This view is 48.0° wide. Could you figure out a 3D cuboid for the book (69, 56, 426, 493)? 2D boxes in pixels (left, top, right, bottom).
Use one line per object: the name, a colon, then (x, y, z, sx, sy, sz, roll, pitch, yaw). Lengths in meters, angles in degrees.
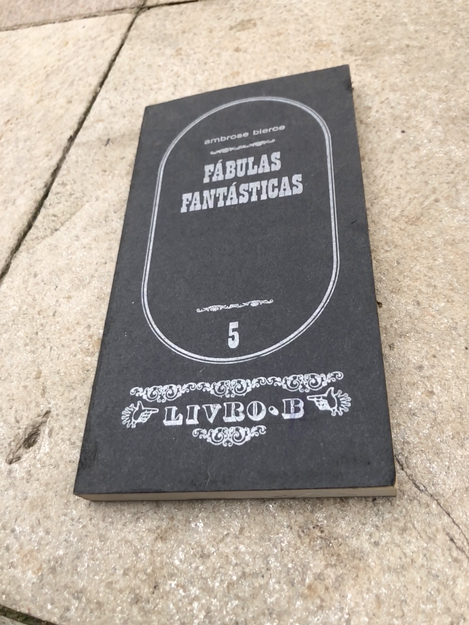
book: (0.005, -0.025, 0.199, 0.104, 0.013, 0.177, -6, 59, 15)
